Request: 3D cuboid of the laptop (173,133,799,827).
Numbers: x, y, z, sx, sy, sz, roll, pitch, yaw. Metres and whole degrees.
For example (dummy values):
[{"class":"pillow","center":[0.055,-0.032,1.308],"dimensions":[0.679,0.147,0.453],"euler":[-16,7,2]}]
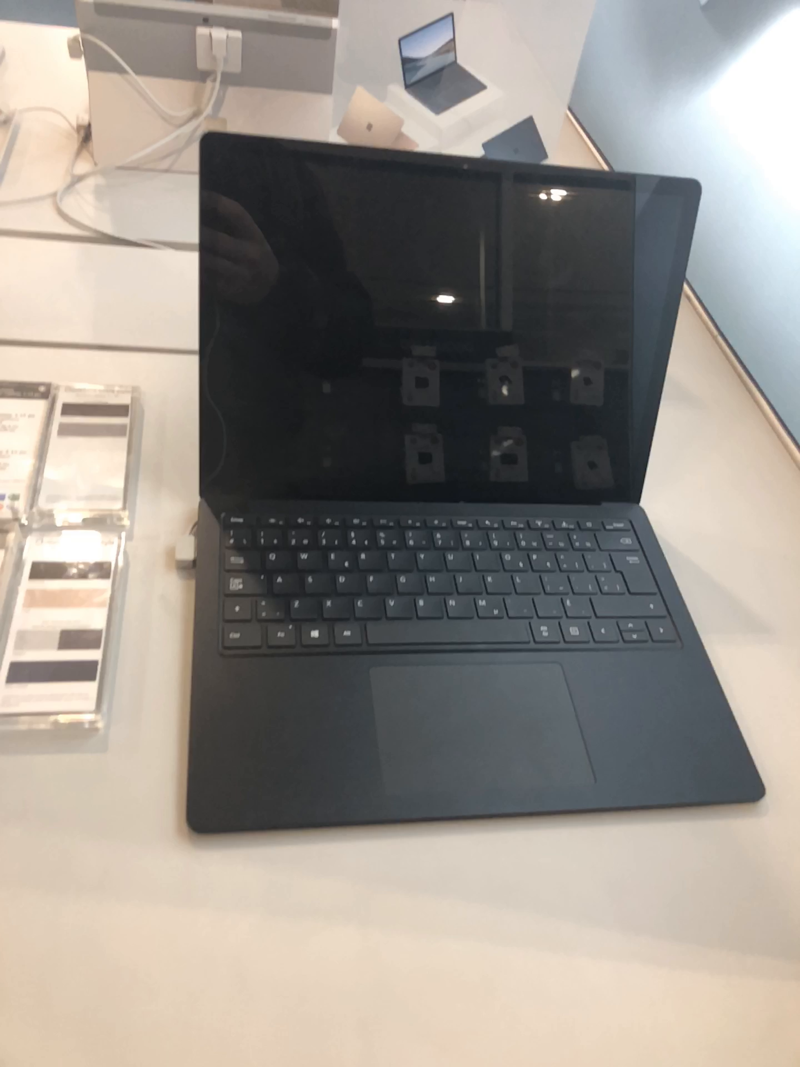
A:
[{"class":"laptop","center":[0.044,-0.042,0.486],"dimensions":[0.308,0.197,0.315],"euler":[1,46,-12]}]
